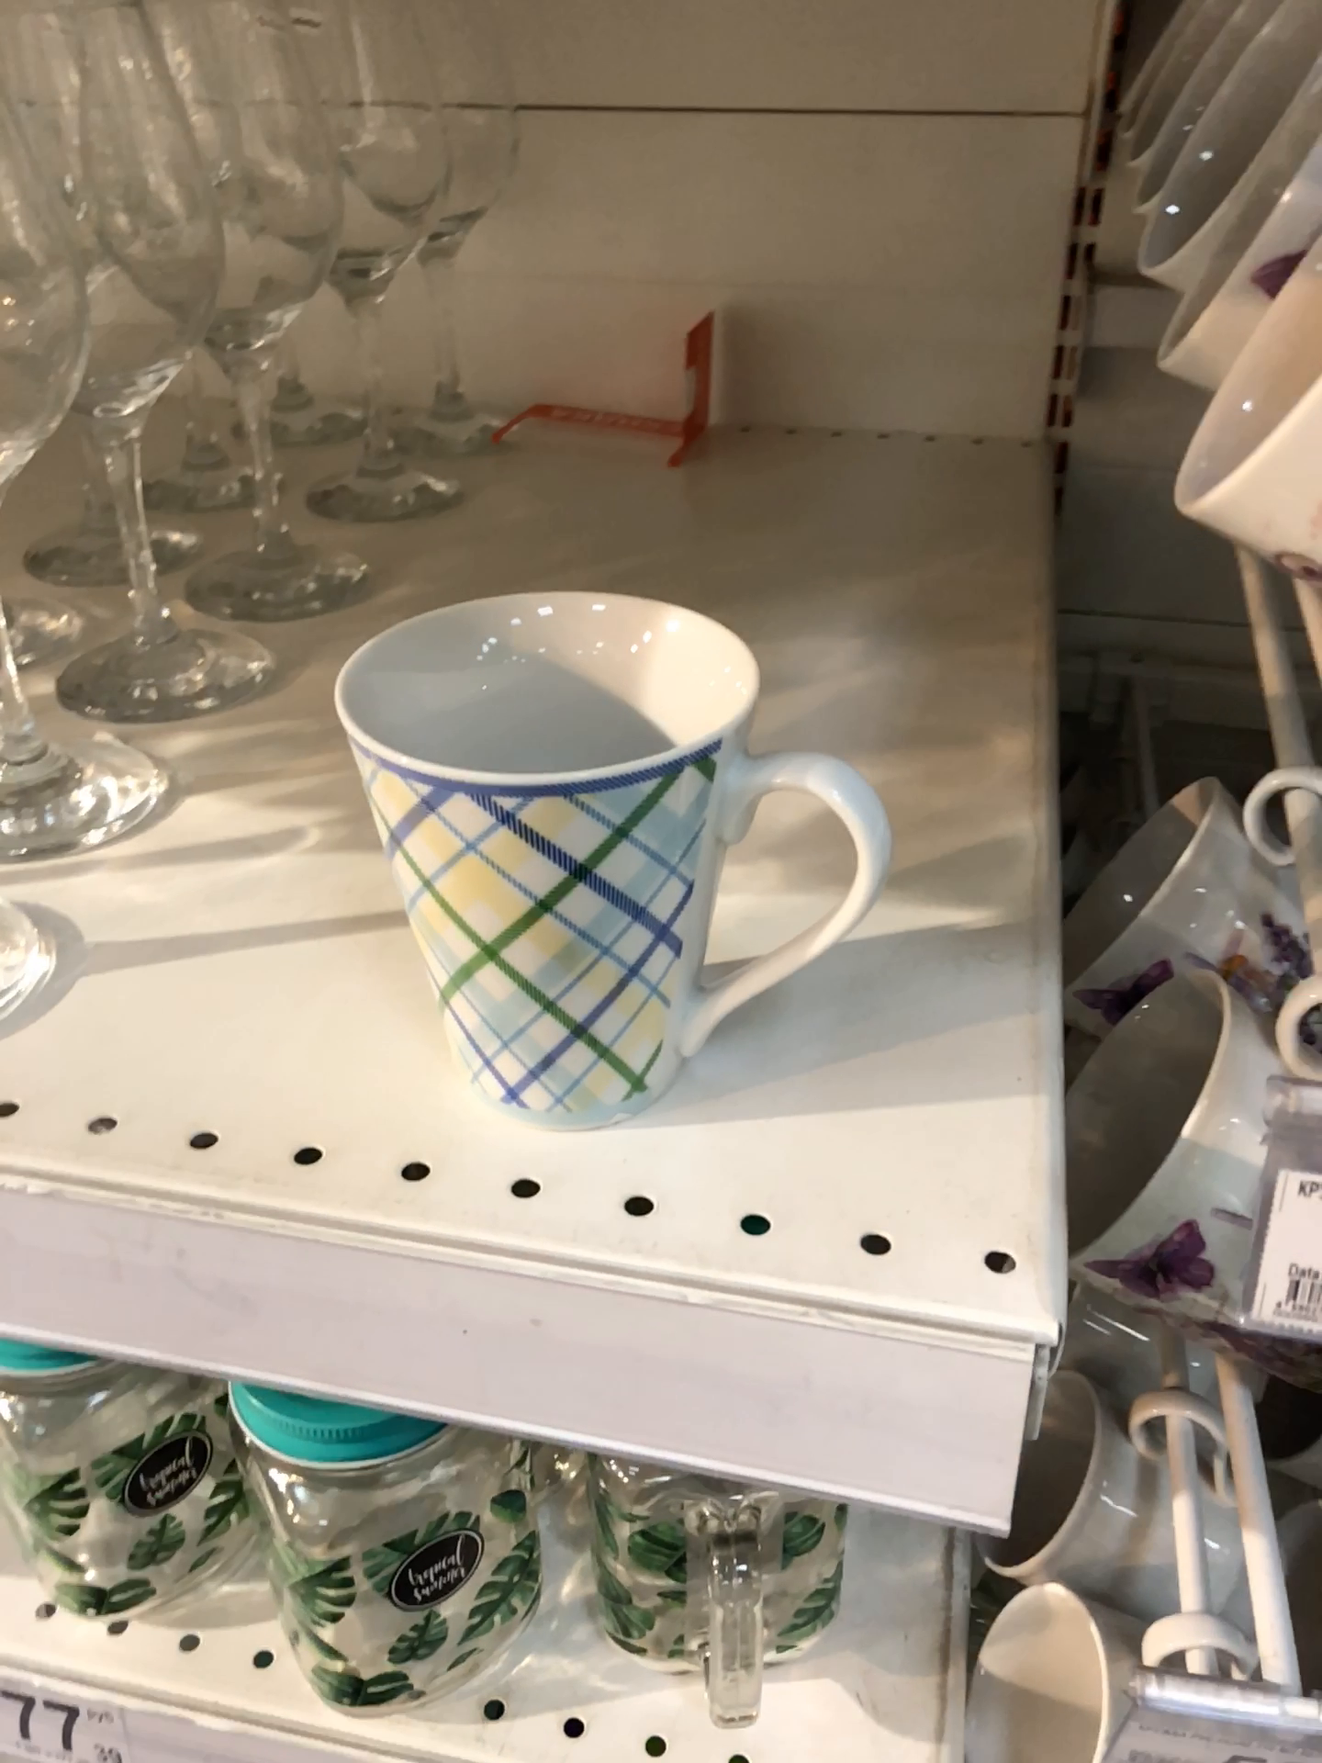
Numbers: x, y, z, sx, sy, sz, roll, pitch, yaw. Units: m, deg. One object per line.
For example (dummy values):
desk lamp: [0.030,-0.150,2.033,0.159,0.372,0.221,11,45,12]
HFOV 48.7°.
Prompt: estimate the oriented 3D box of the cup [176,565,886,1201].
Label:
cup: [-0.019,-0.005,0.308,0.116,0.085,0.089,8,34,13]
